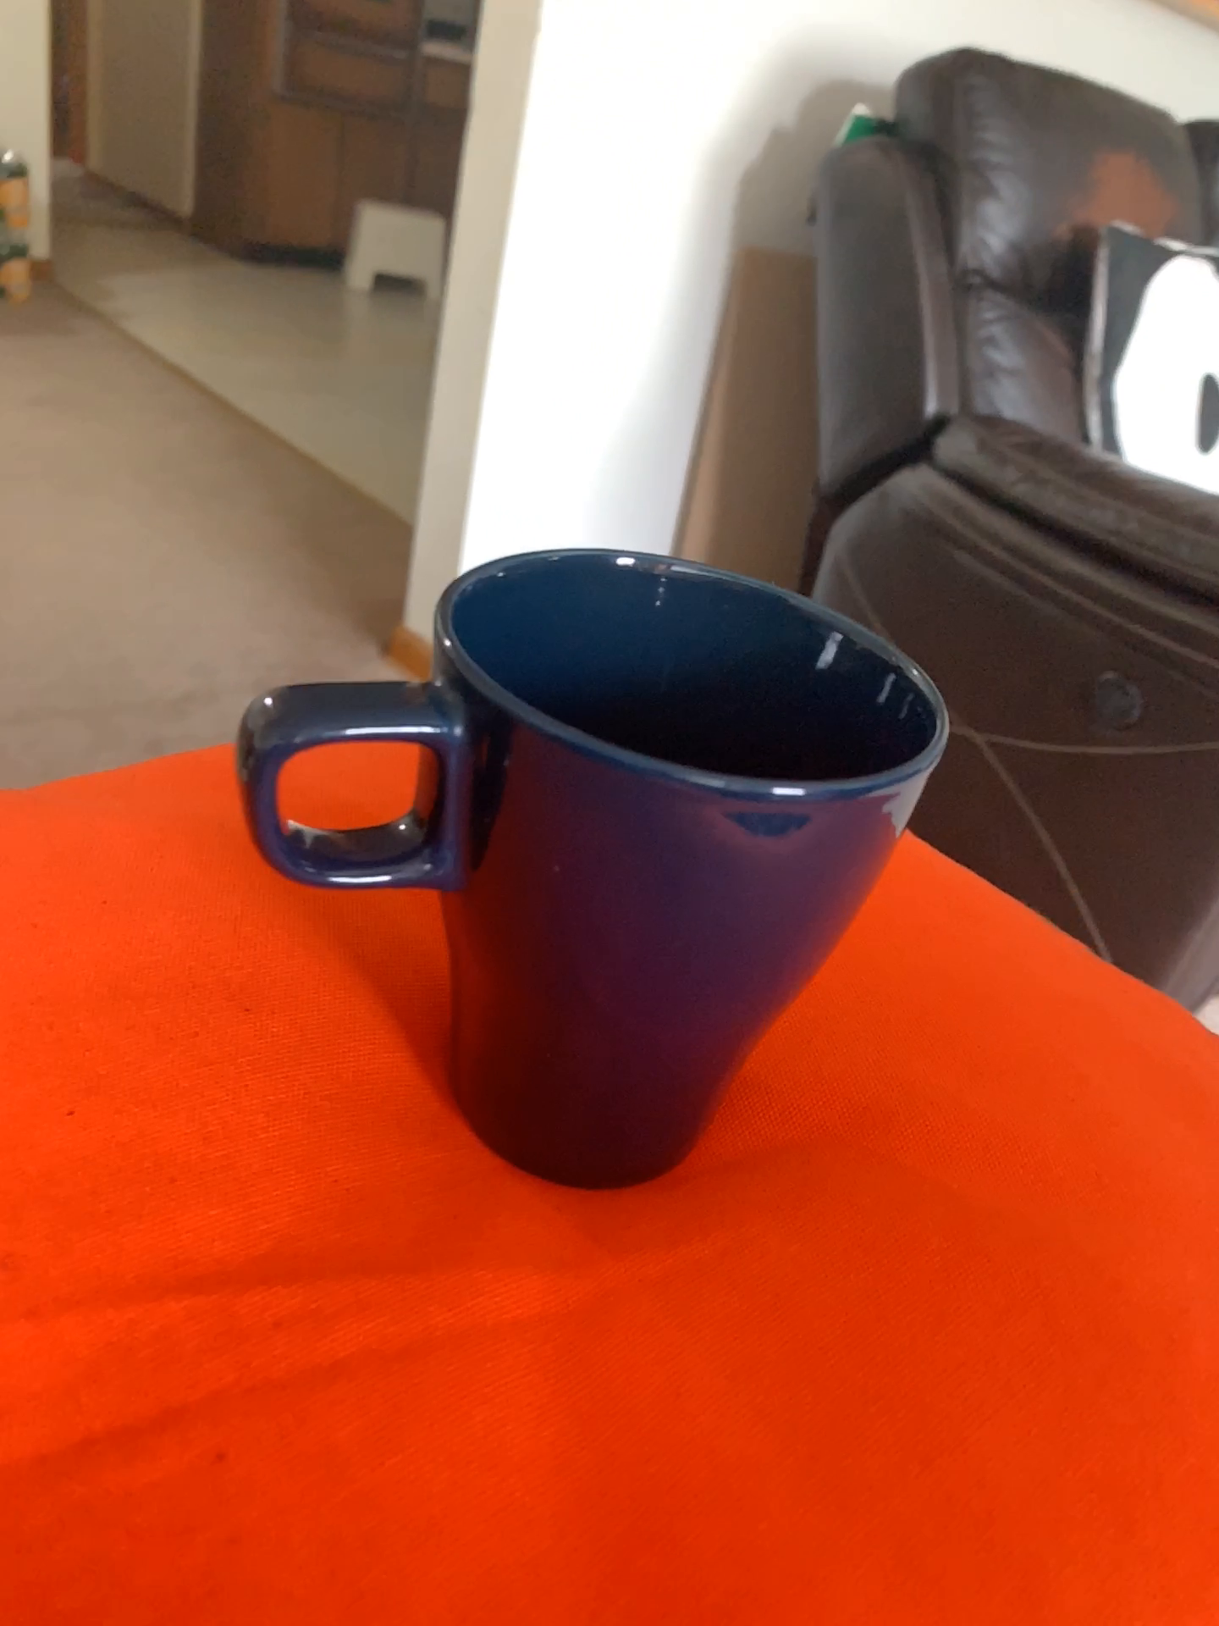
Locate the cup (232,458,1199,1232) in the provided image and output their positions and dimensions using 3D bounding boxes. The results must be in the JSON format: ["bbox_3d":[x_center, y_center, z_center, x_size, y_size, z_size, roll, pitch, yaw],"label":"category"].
[{"bbox_3d":[0.009,-0.002,0.208,0.120,0.079,0.080,-3,32,-27],"label":"cup"}]
